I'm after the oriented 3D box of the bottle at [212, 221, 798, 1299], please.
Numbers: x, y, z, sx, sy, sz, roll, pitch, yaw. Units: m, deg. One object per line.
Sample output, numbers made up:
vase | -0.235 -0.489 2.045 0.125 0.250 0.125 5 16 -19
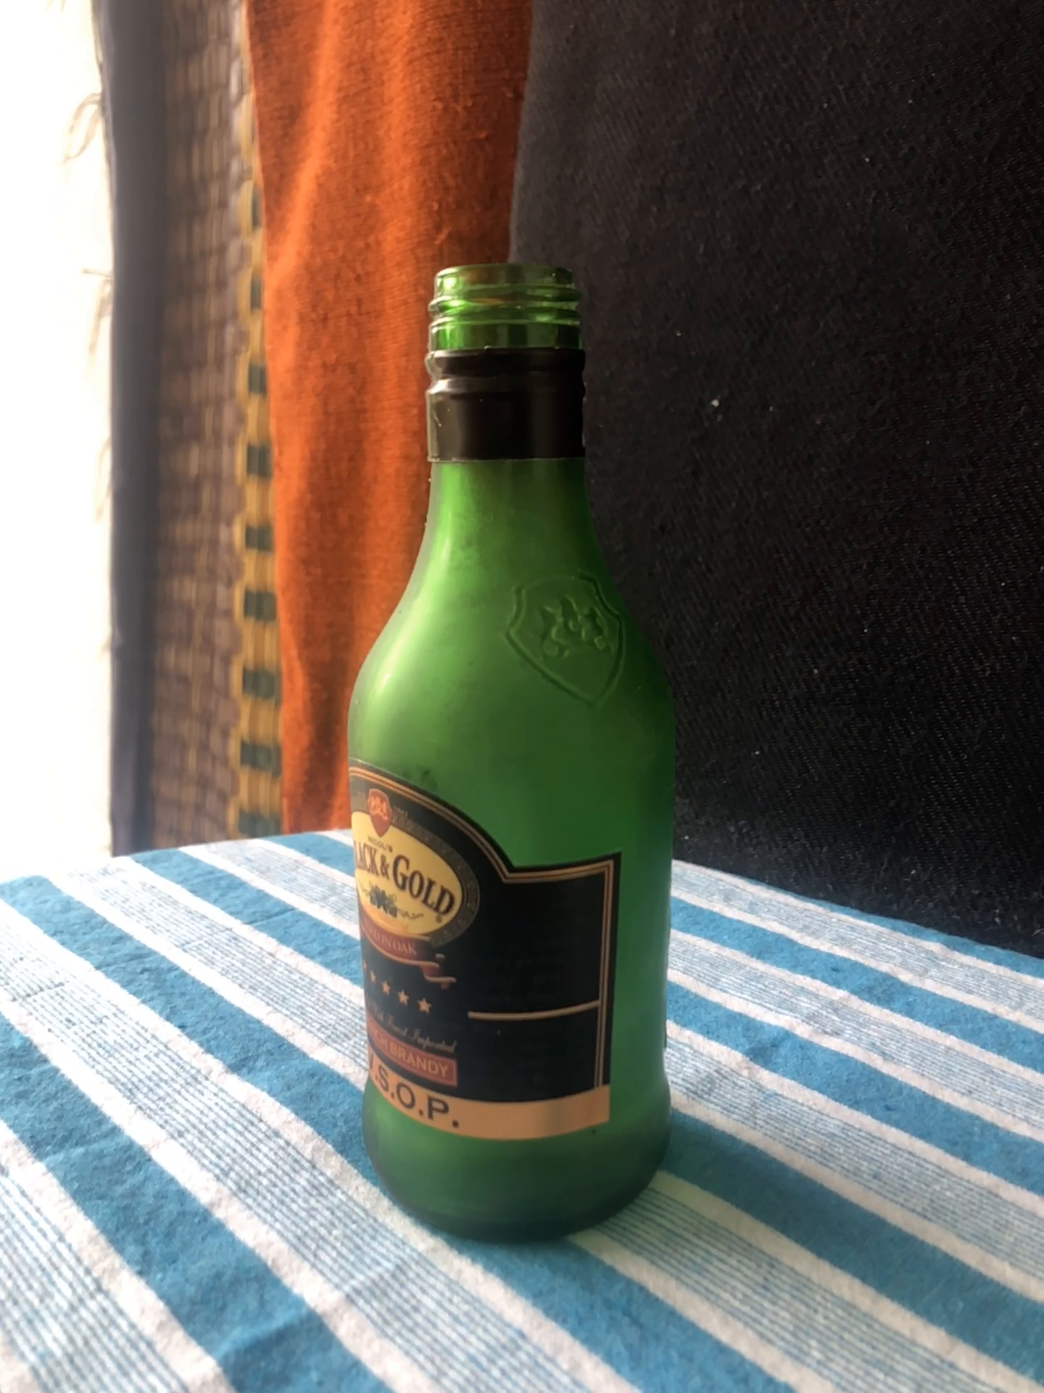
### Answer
bottle | -0.003 0.005 0.185 0.060 0.140 0.060 0 14 0
